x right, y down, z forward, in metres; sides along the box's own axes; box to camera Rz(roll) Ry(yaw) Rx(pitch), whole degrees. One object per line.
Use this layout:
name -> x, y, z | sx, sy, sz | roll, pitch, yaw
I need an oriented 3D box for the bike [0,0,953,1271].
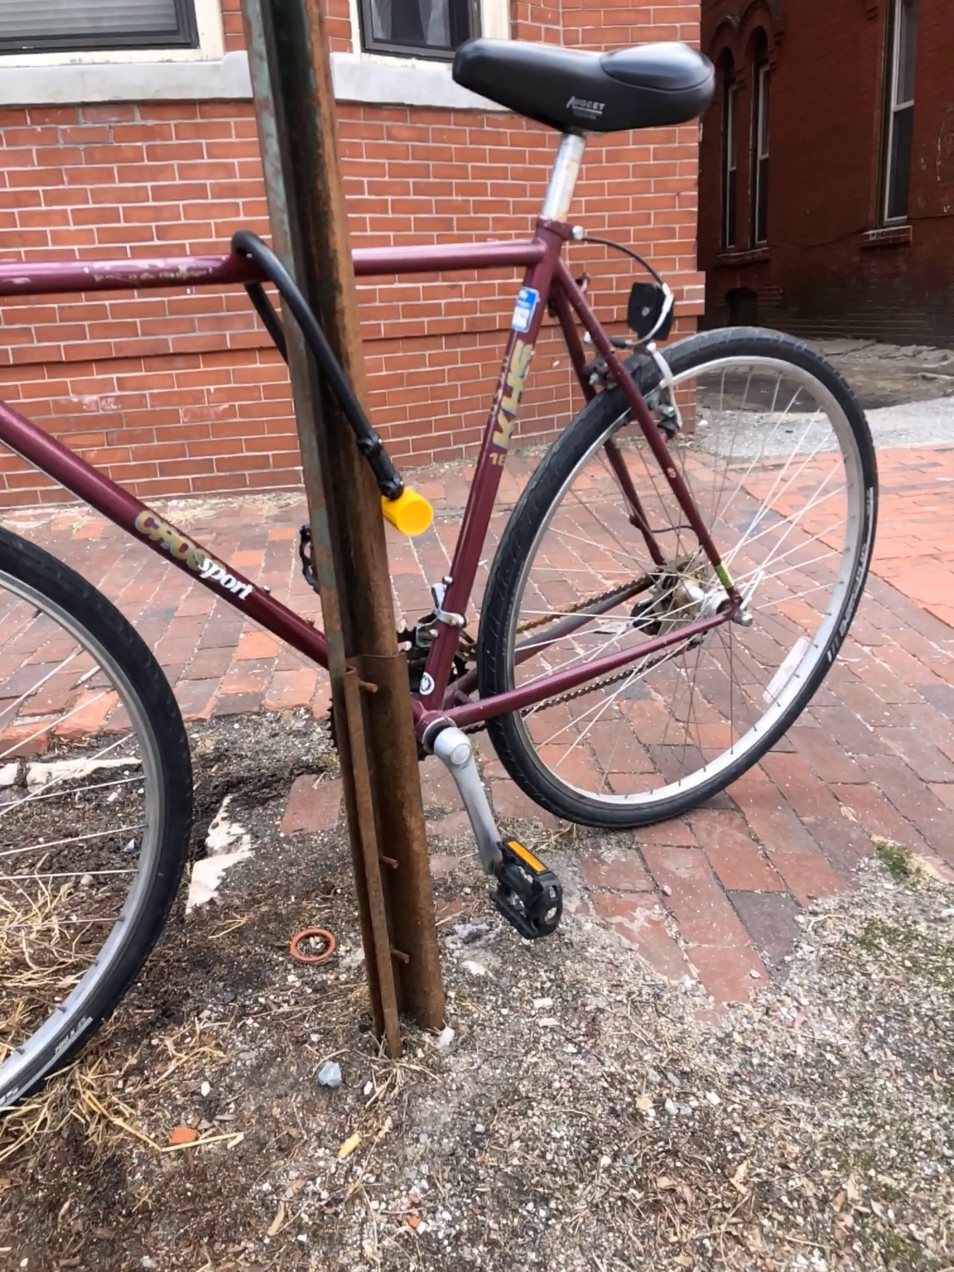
bike -> -0.092, -0.064, 1.015 | 1.730, 1.013, 0.668 | -15, 20, -32
